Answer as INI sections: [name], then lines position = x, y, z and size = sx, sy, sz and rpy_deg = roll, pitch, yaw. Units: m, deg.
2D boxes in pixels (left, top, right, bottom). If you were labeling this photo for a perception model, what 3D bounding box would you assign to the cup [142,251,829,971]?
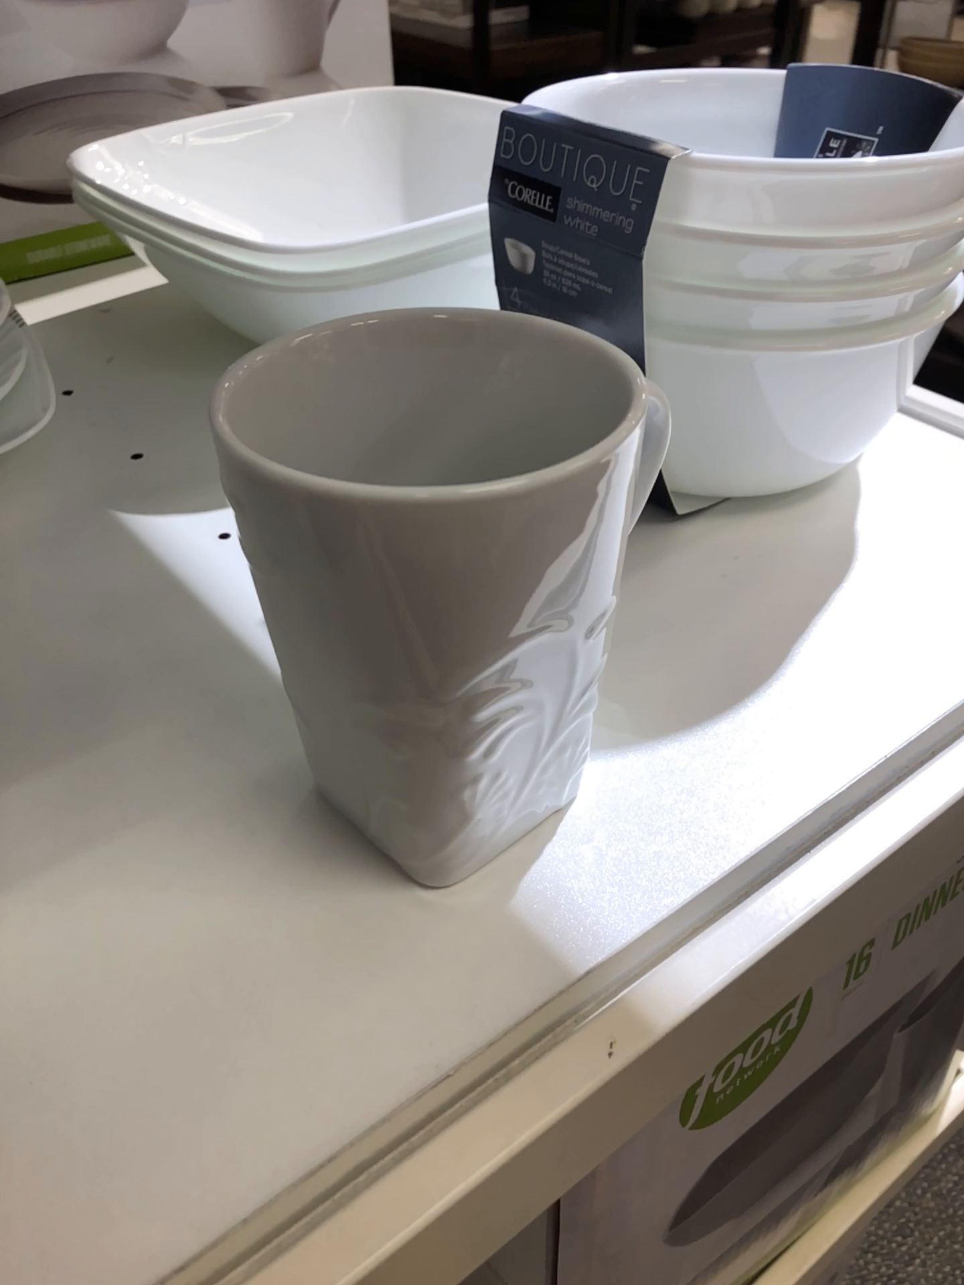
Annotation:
[cup]
position = 0.001, -0.014, 0.260
size = 0.115, 0.113, 0.086
rpy_deg = -26, 45, -29
